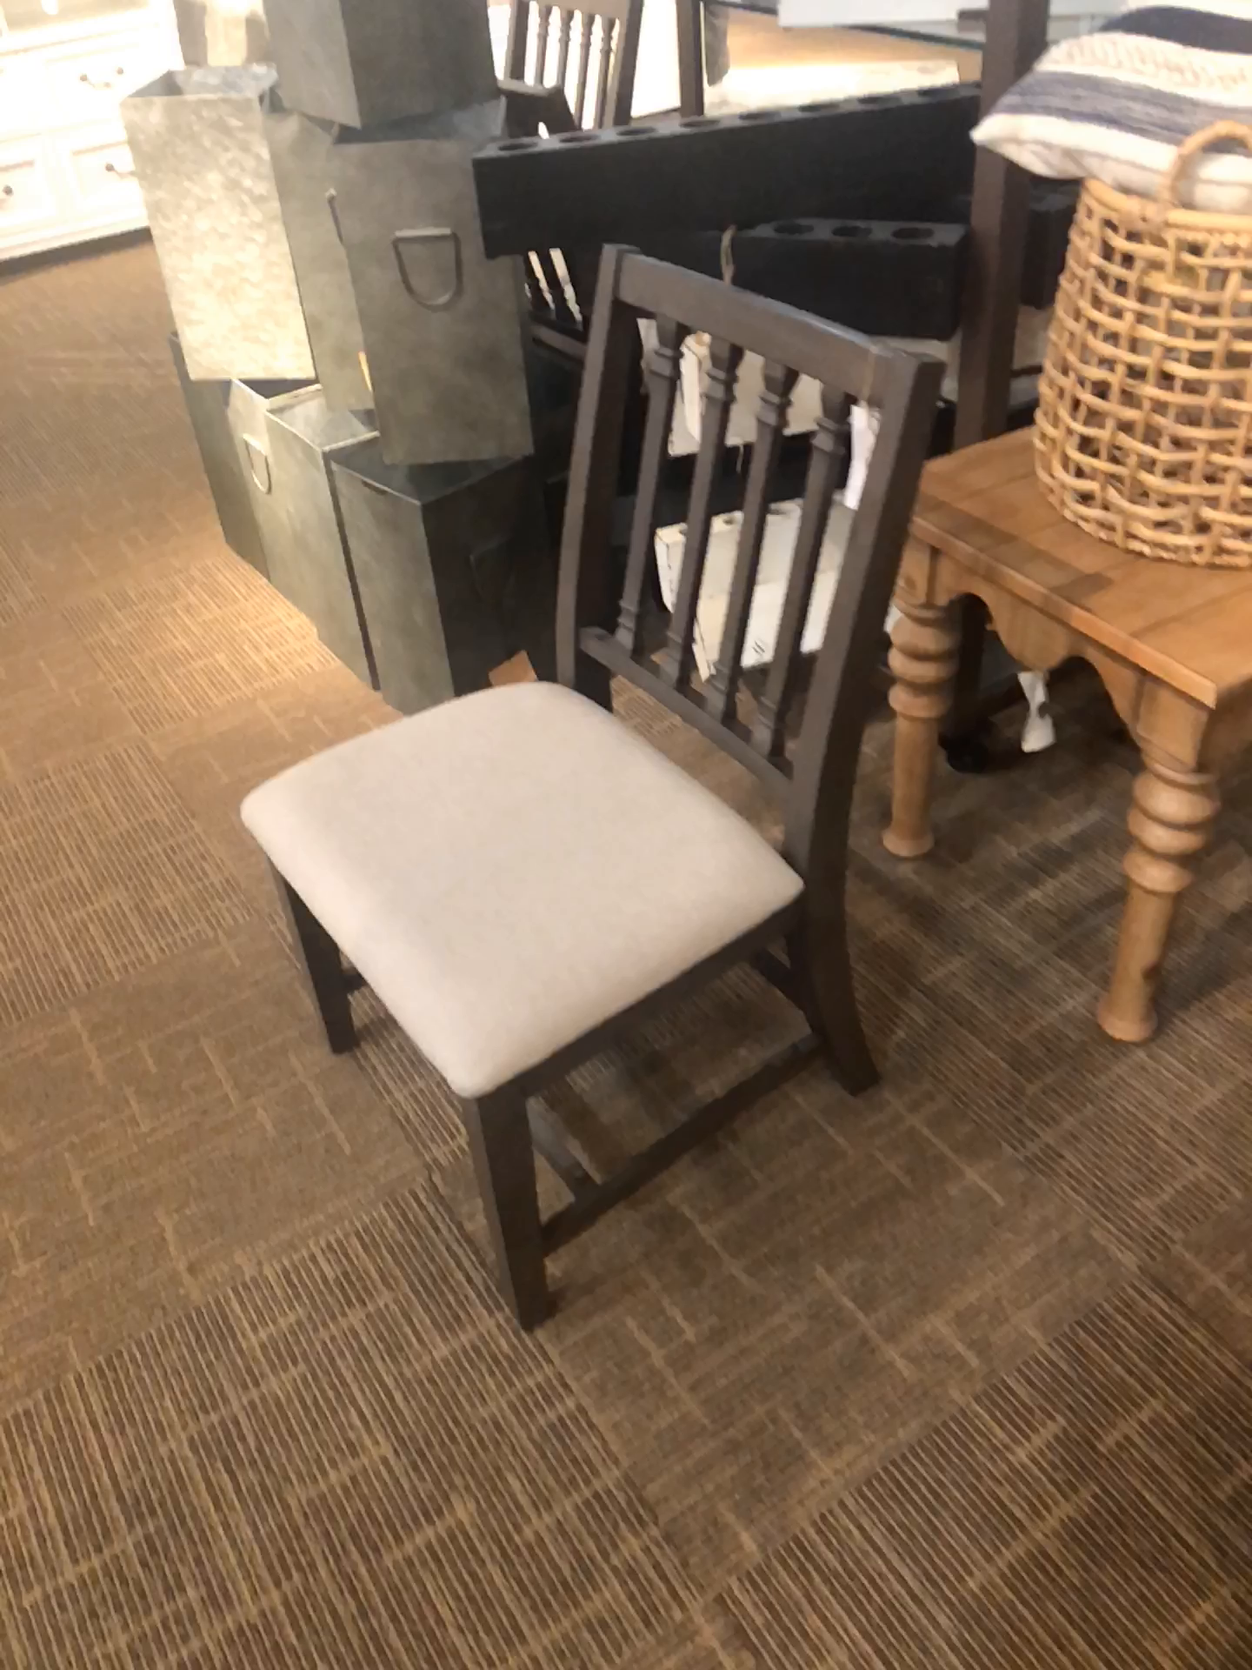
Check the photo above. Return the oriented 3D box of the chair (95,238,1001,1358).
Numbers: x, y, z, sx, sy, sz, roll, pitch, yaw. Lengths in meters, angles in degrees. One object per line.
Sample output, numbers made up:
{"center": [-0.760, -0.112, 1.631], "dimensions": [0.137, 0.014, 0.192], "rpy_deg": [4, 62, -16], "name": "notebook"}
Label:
{"center": [-0.066, -0.051, 1.494], "dimensions": [0.601, 0.905, 0.582], "rpy_deg": [-24, 43, -22], "name": "chair"}
